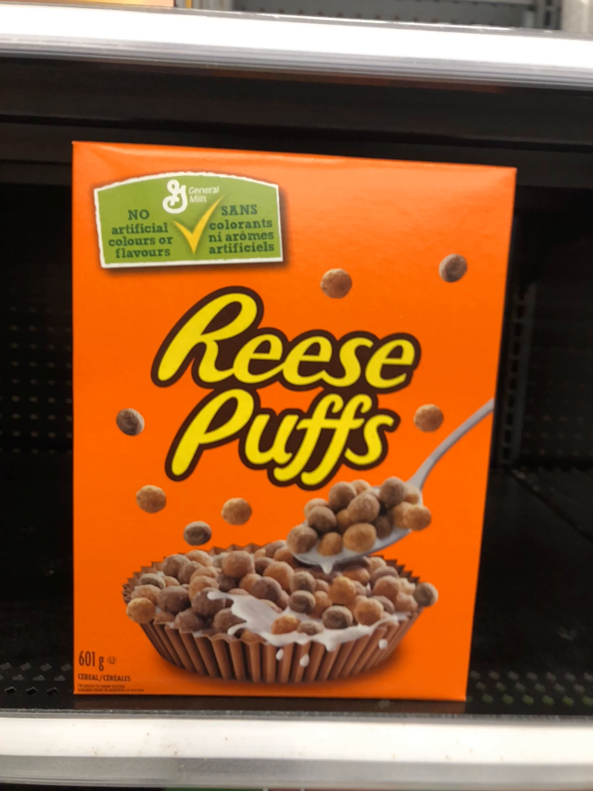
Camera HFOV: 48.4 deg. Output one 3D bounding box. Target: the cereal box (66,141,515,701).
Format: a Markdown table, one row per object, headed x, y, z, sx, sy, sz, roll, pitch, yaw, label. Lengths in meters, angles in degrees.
| x | y | z | sx | sy | sz | roll | pitch | yaw | label |
| --- | --- | --- | --- | --- | --- | --- | --- | --- | --- |
| -0.009 | 0.022 | 0.412 | 0.240 | 0.319 | 0.070 | 2 | 9 | -4 | cereal box |
